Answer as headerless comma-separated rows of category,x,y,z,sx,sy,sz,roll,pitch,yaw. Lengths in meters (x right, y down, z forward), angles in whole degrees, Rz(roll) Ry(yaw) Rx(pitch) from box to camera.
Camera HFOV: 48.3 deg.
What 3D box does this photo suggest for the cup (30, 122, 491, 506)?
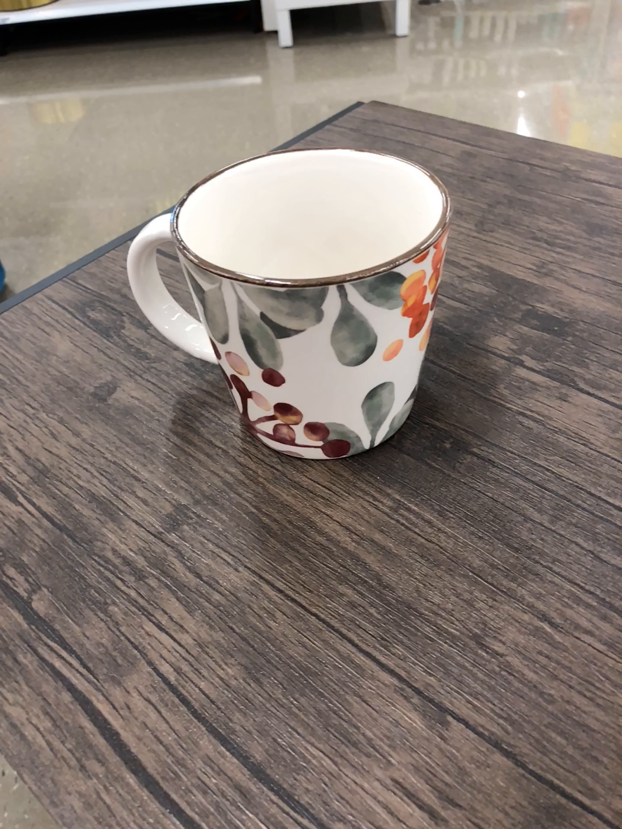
cup,-0.011,-0.048,0.301,0.150,0.110,0.100,10,47,17
